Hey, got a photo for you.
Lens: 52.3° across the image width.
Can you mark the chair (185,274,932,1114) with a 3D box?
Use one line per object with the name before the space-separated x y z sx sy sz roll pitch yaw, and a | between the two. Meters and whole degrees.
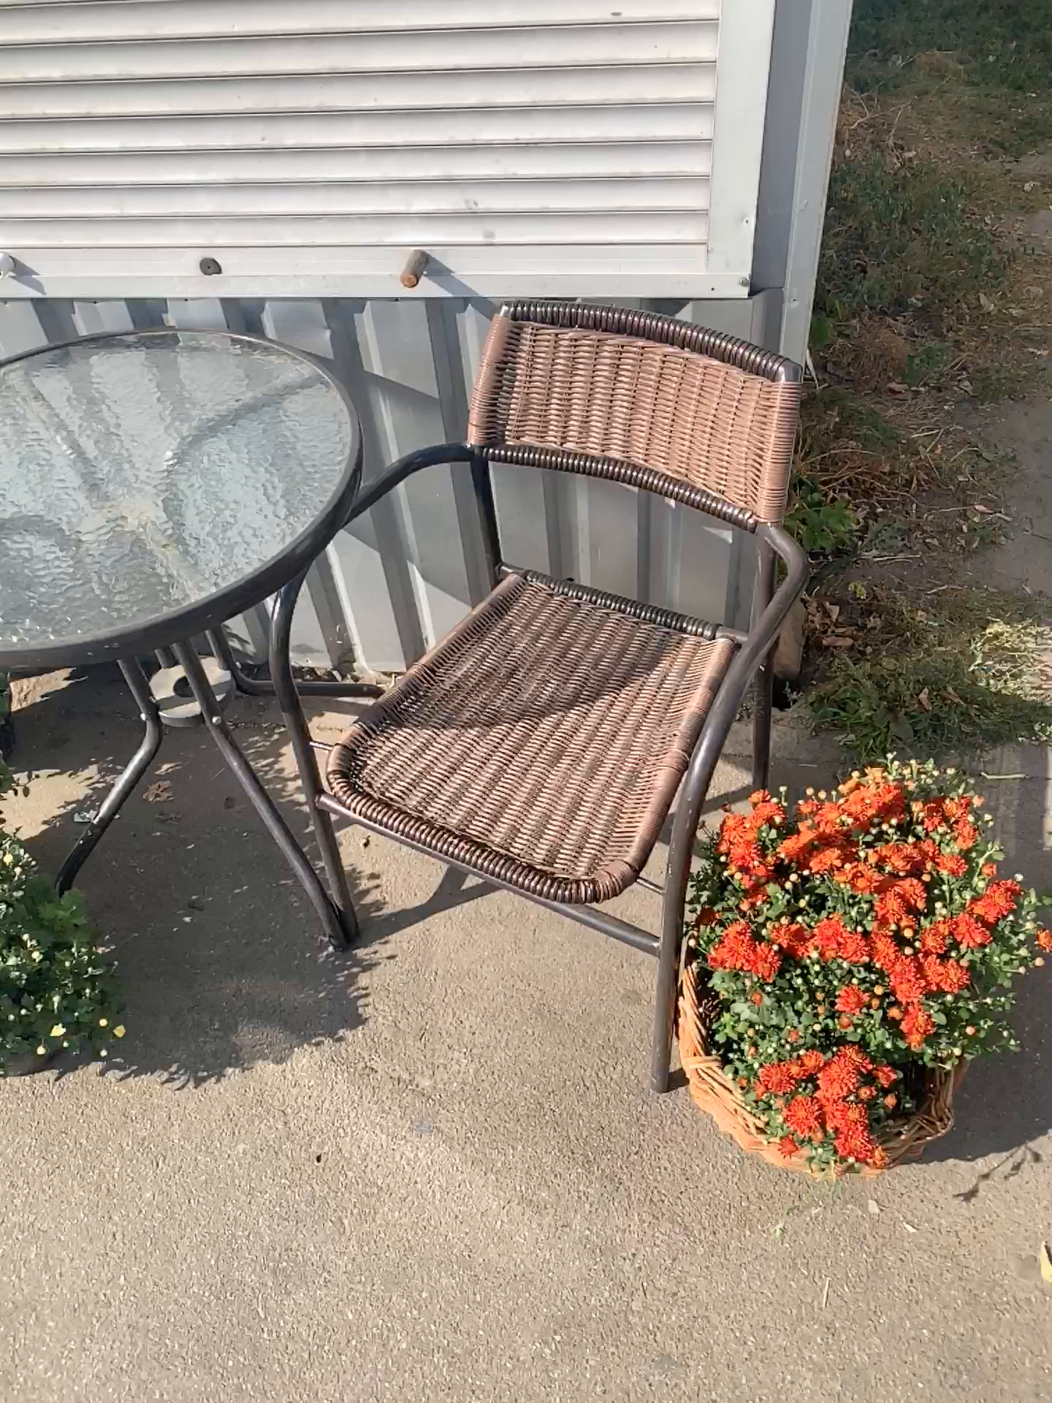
chair | 0.094 -0.024 1.427 0.571 0.717 0.692 18 52 20
